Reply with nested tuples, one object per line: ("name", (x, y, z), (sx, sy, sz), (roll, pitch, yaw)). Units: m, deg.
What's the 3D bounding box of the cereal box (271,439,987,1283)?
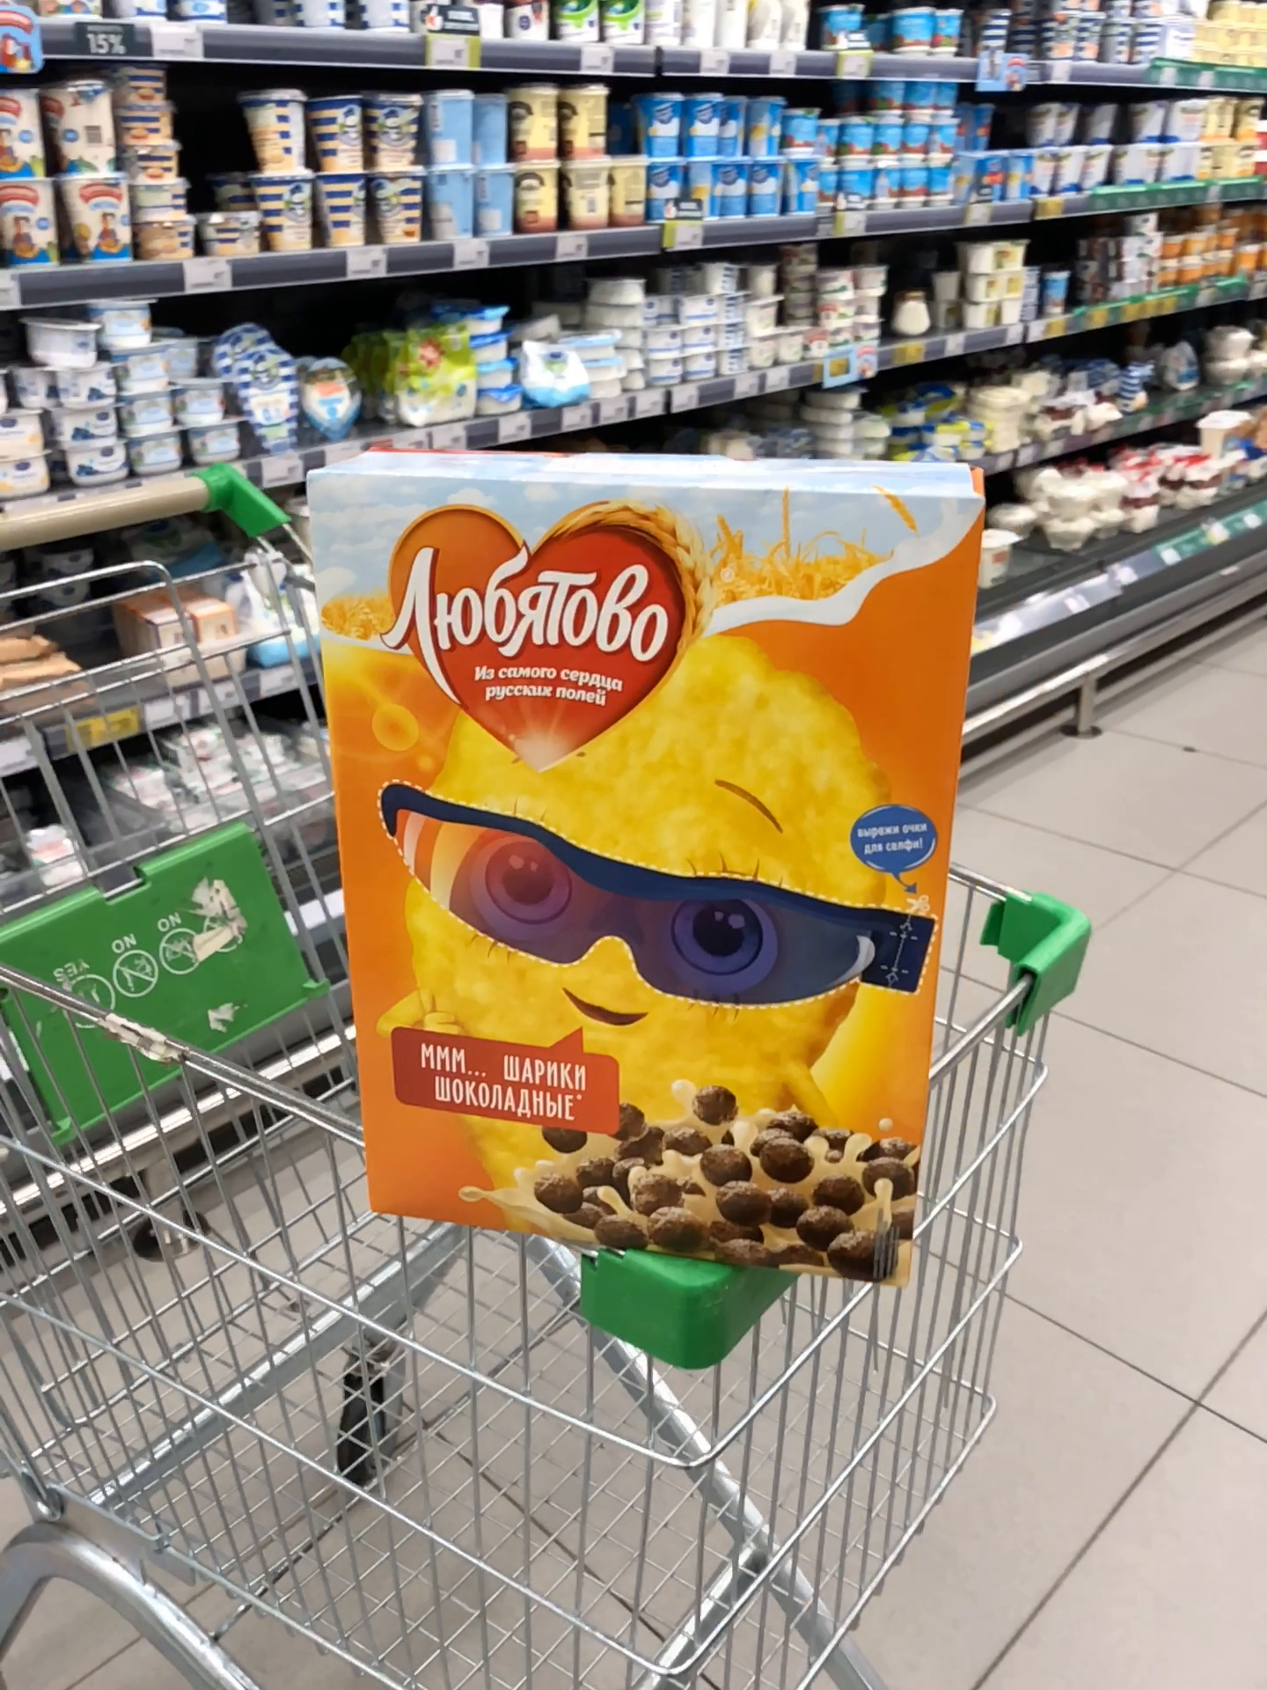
("cereal box", (-0.001, 0.008, 0.452), (0.200, 0.259, 0.050), (5, 23, 11))
